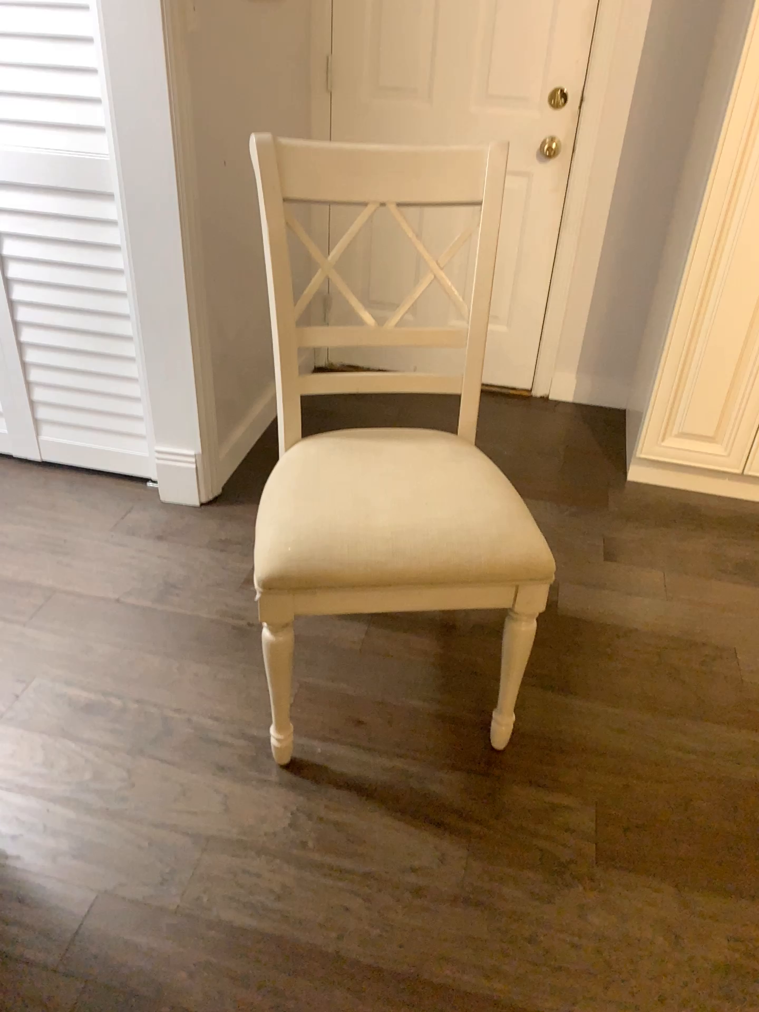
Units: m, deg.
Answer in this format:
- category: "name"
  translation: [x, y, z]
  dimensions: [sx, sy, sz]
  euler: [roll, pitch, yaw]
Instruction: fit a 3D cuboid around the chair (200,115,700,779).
- category: "chair"
  translation: [0.032, -0.108, 1.400]
  dimensions: [0.580, 0.994, 0.614]
  euler: [-2, 33, -7]
